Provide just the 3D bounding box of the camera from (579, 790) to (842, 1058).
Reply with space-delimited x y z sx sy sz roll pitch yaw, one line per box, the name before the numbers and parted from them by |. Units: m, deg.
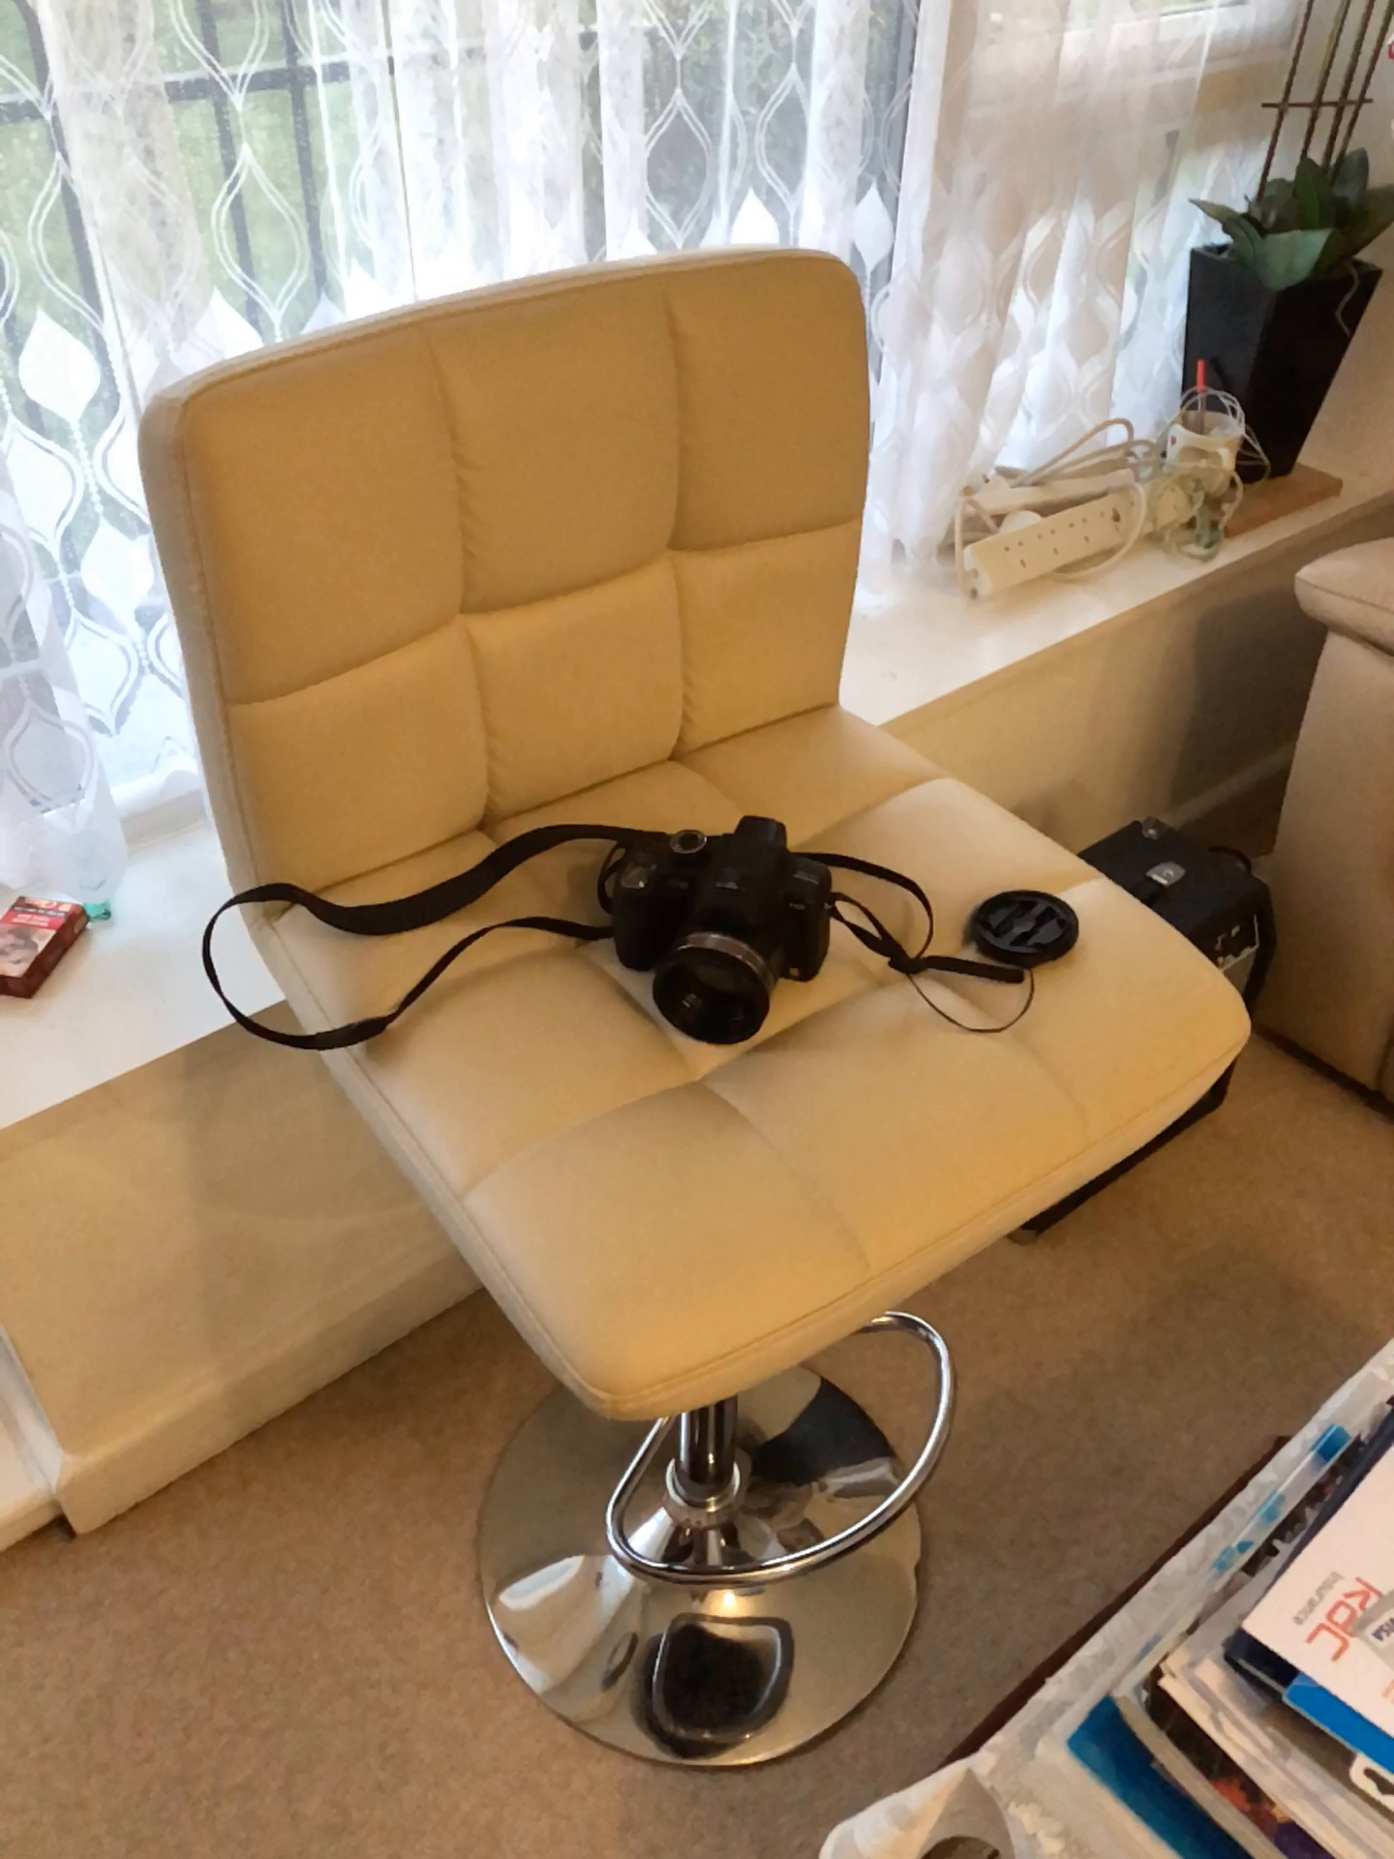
camera | 0.009 -0.005 0.774 0.111 0.076 0.098 9 41 9
